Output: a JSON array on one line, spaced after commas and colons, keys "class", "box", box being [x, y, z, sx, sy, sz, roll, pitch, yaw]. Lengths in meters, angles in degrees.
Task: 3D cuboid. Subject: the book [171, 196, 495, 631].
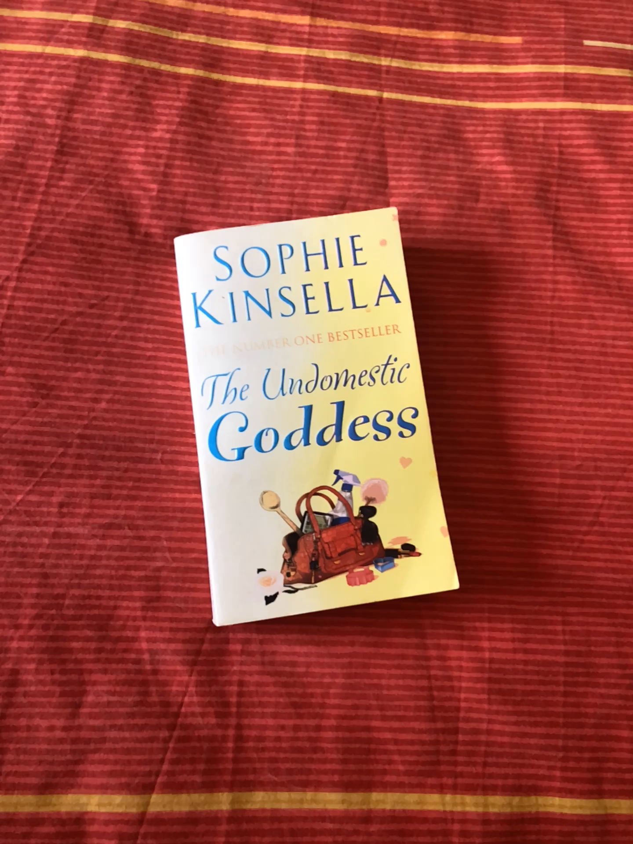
[{"class": "book", "box": [0.004, -0.006, 0.325, 0.120, 0.040, 0.180, -6, 82, -6]}]
